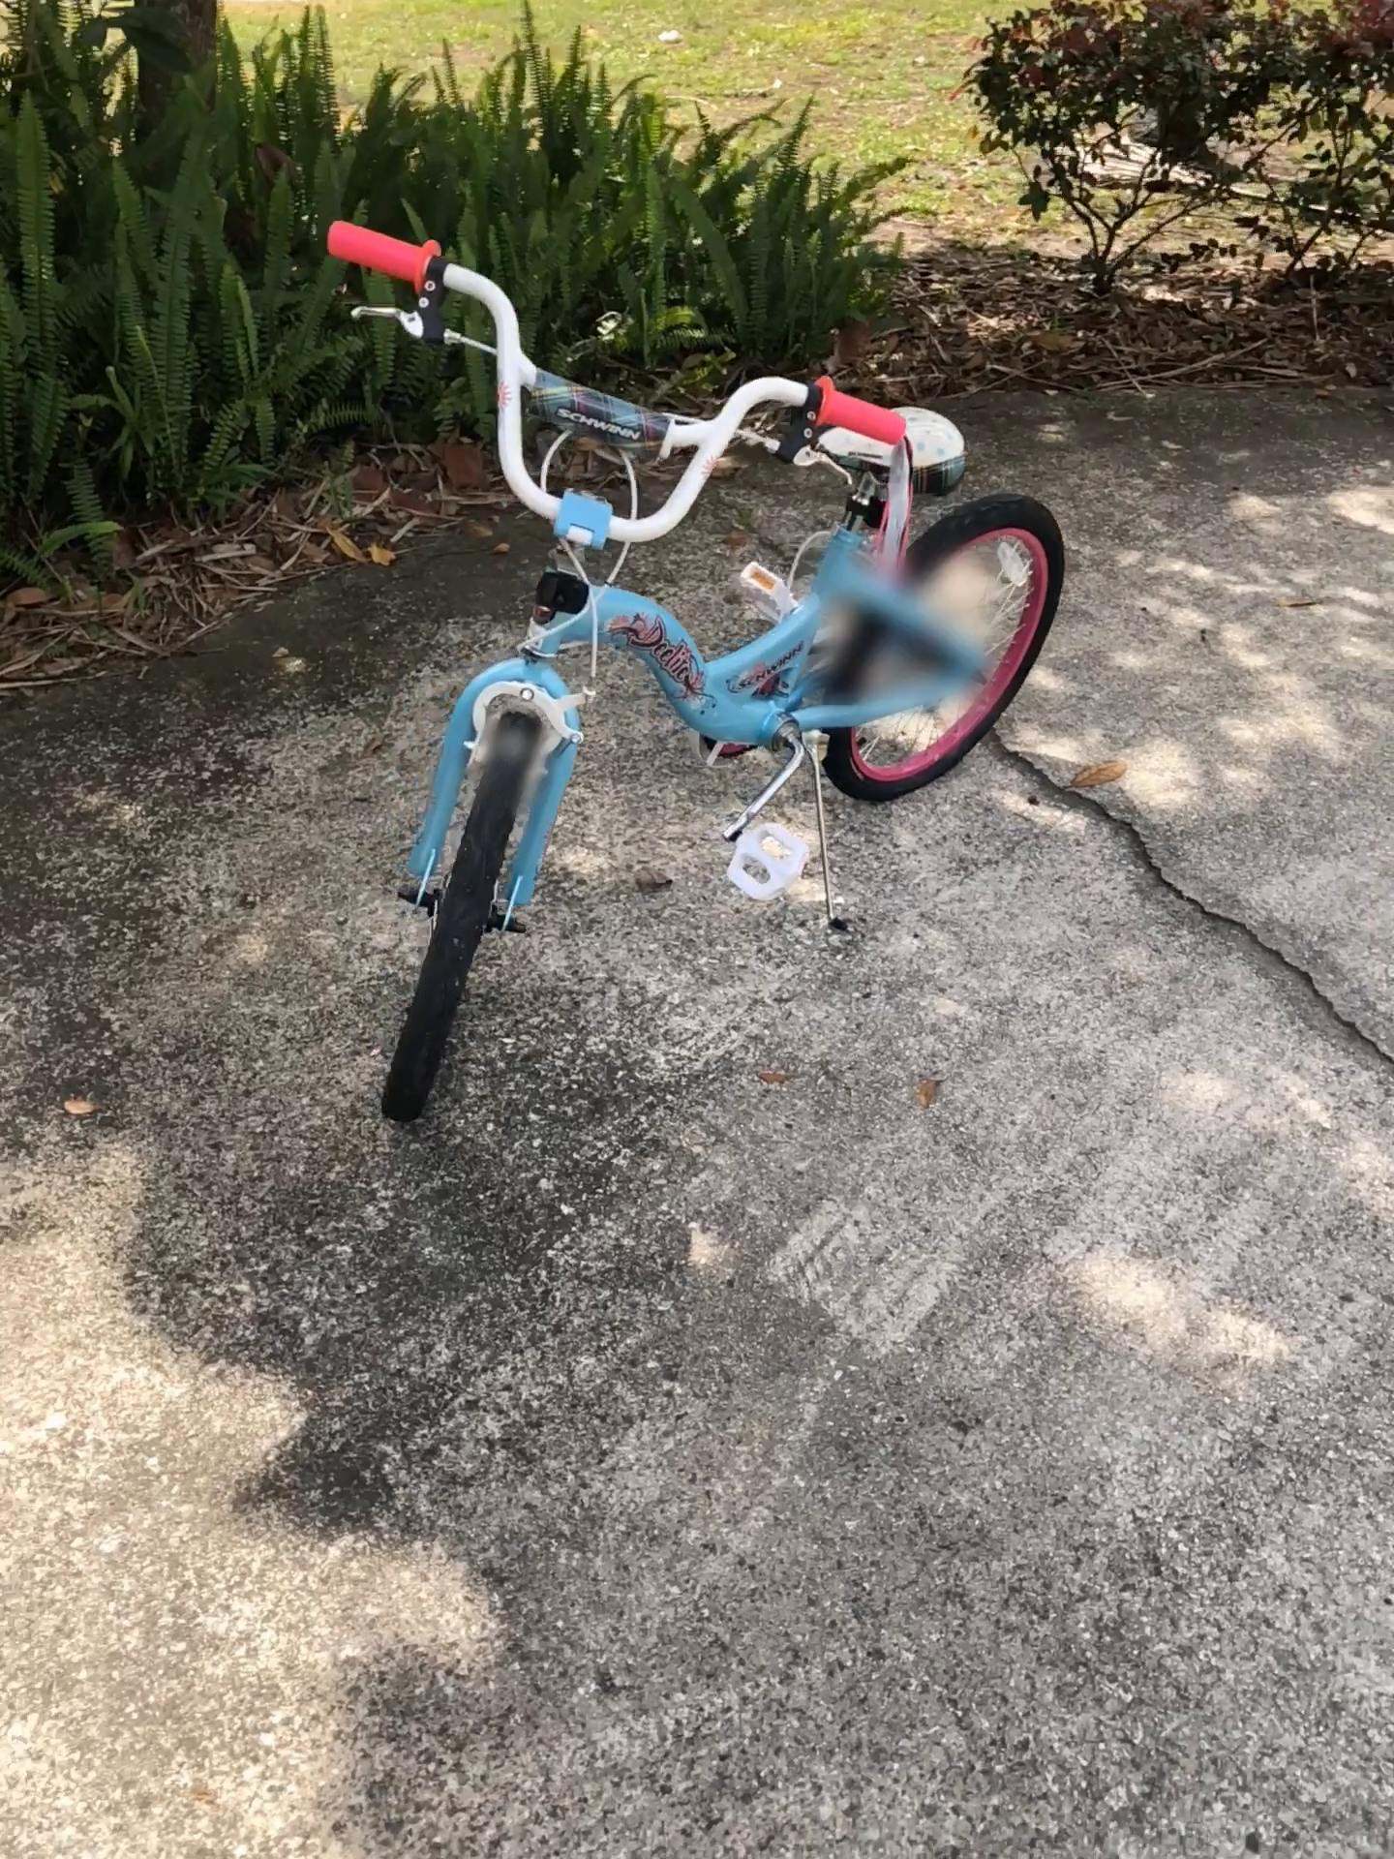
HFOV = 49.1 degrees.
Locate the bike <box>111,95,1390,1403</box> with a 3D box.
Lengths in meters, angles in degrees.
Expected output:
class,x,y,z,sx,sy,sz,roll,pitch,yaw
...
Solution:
class,x,y,z,sx,sy,sz,roll,pitch,yaw
bike,0.154,-0.361,1.816,0.701,0.923,1.313,26,44,31
